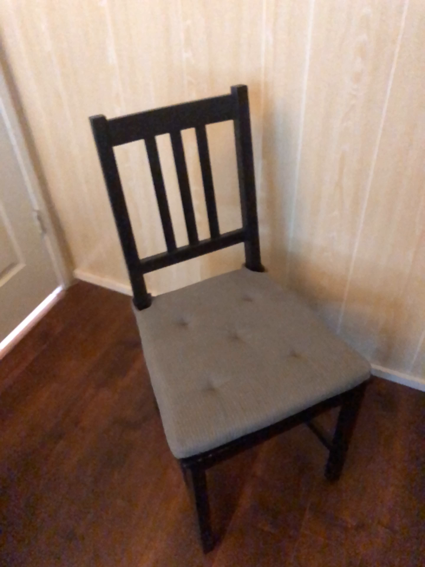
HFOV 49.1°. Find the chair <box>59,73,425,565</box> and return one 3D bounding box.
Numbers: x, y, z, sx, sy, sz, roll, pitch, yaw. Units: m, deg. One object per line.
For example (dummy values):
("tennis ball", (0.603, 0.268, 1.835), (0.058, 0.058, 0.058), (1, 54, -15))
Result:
("chair", (0.048, 0.097, 0.998), (0.440, 0.834, 0.513), (-19, 44, -17))
